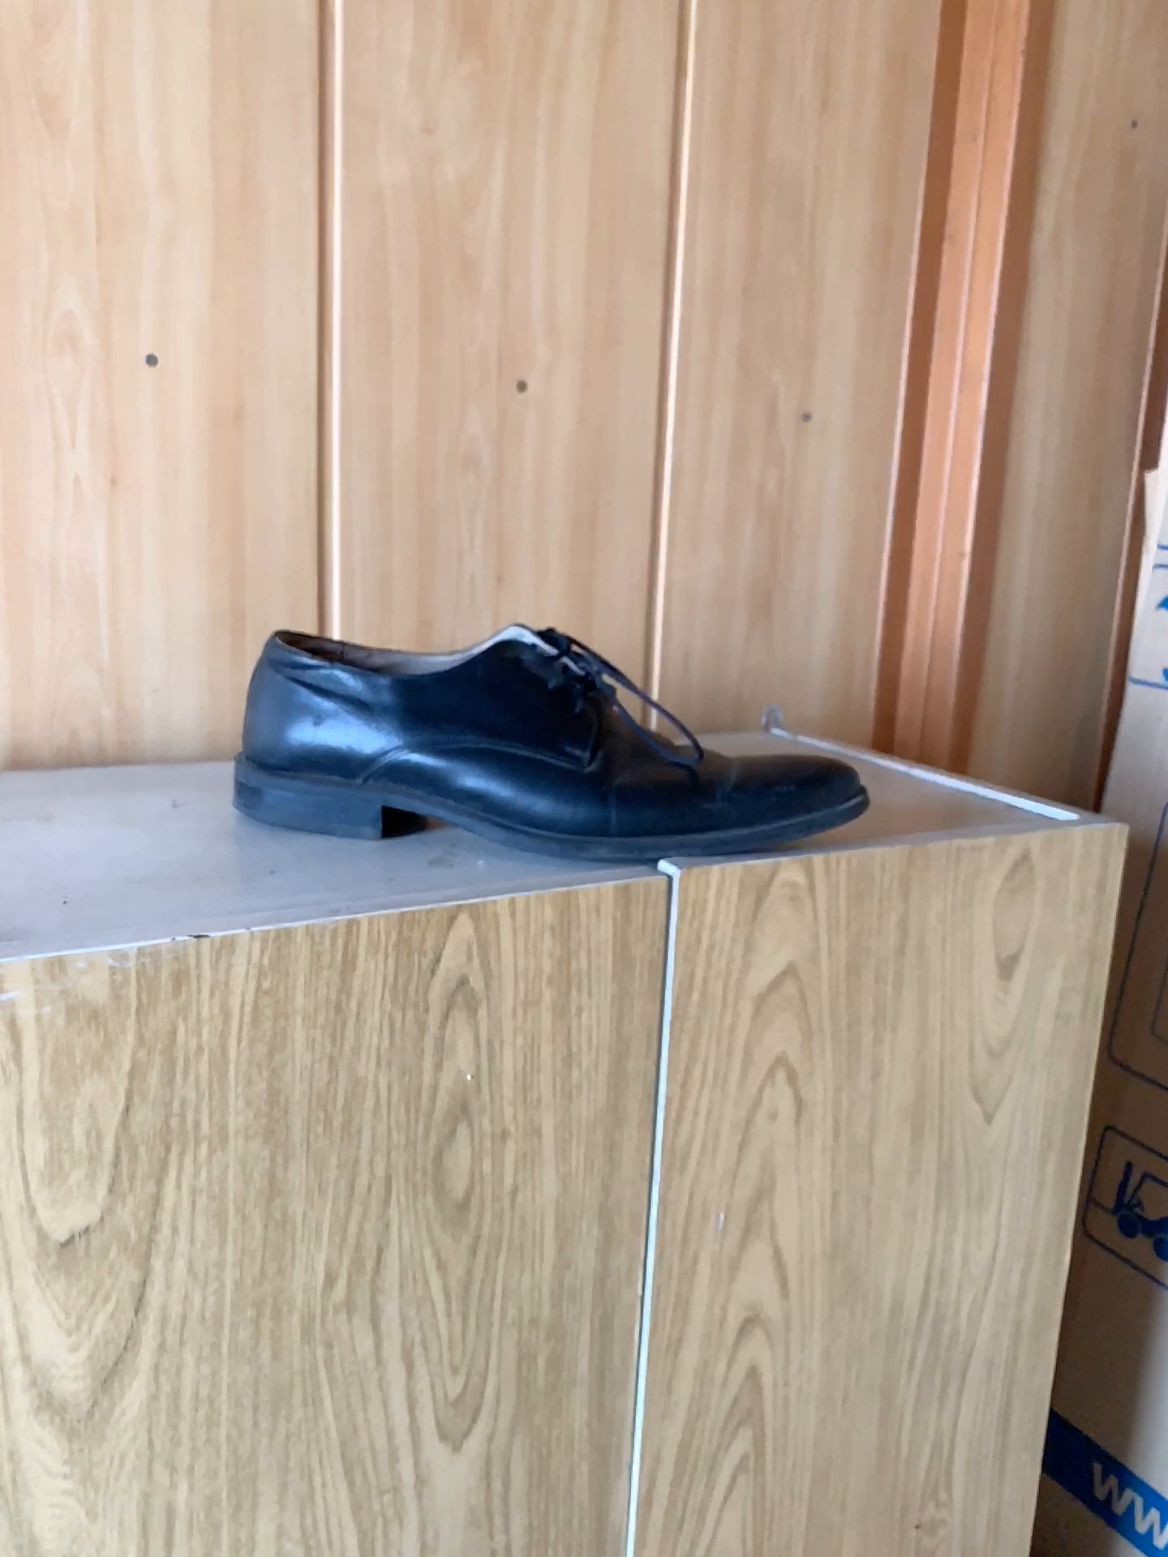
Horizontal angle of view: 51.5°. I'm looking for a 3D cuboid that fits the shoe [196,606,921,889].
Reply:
[{"bbox_3d":[-0.009,-0.023,0.573,0.300,0.090,0.141,4,12,5],"label":"shoe"}]
